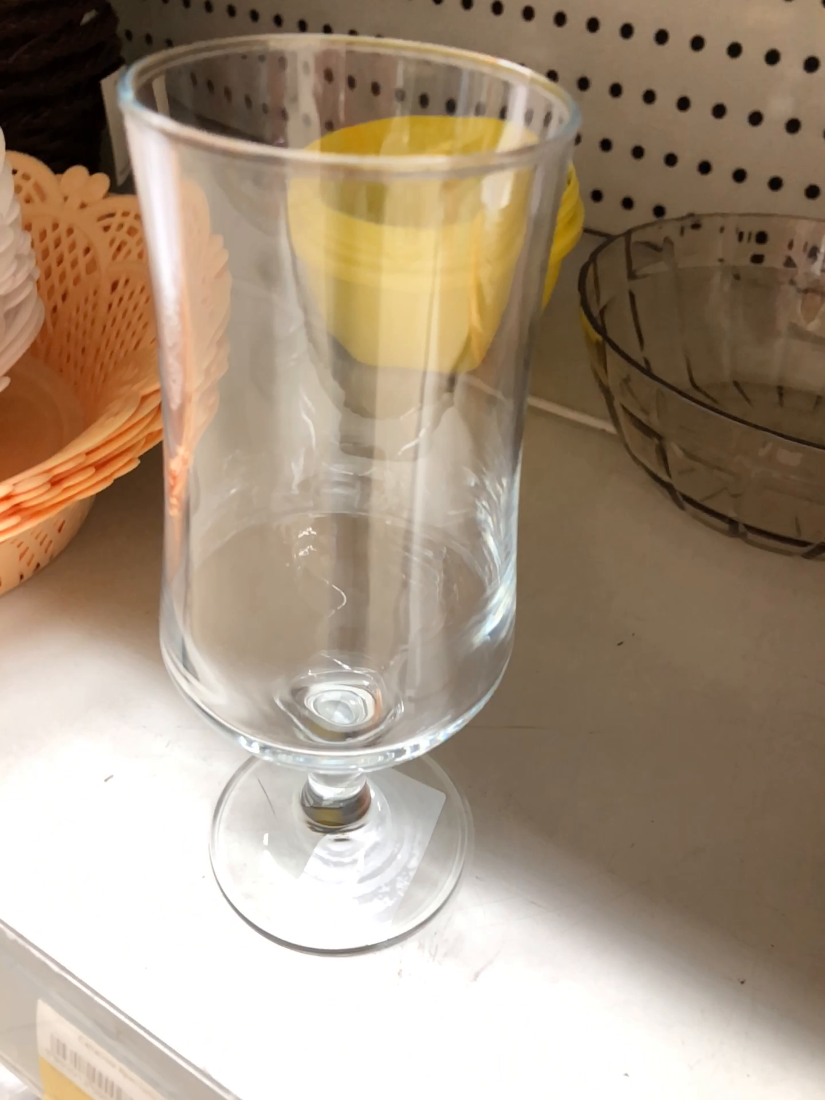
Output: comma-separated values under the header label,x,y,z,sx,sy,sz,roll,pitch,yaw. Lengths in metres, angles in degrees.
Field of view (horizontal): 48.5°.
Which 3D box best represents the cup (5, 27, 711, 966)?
label,x,y,z,sx,sy,sz,roll,pitch,yaw
cup,-0.013,0.003,0.189,0.079,0.177,0.079,3,40,-2
